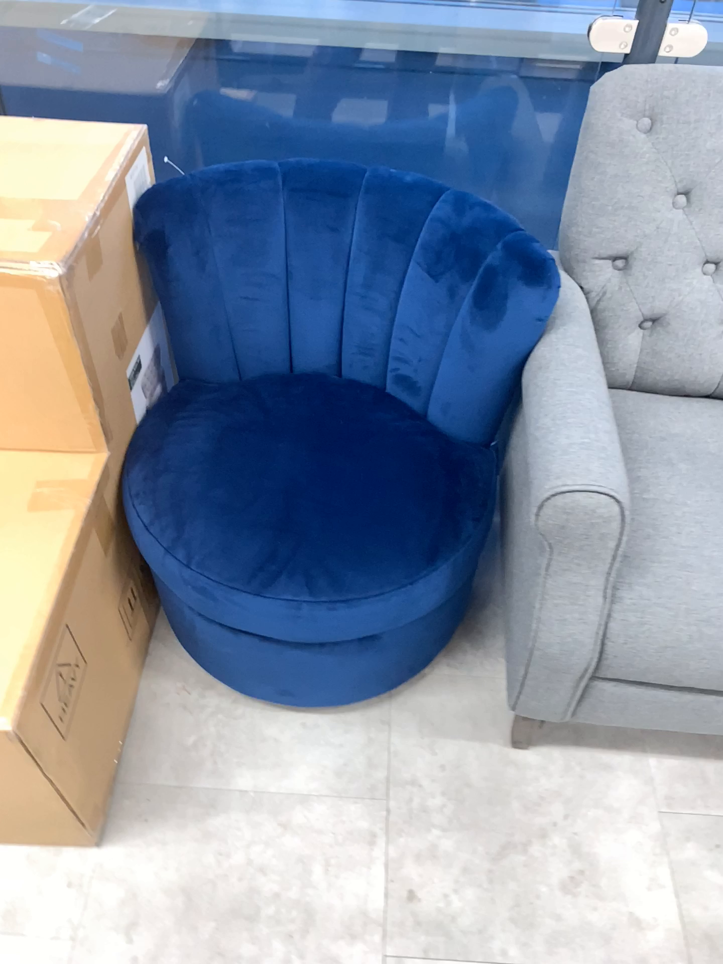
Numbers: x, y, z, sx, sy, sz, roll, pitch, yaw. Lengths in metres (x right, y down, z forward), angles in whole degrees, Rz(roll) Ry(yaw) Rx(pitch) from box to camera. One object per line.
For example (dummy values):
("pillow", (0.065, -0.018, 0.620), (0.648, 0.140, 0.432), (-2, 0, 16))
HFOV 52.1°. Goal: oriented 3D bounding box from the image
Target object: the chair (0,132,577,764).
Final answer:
("chair", (-0.057, -0.059, 1.216), (0.640, 0.674, 0.666), (10, 48, 6))
